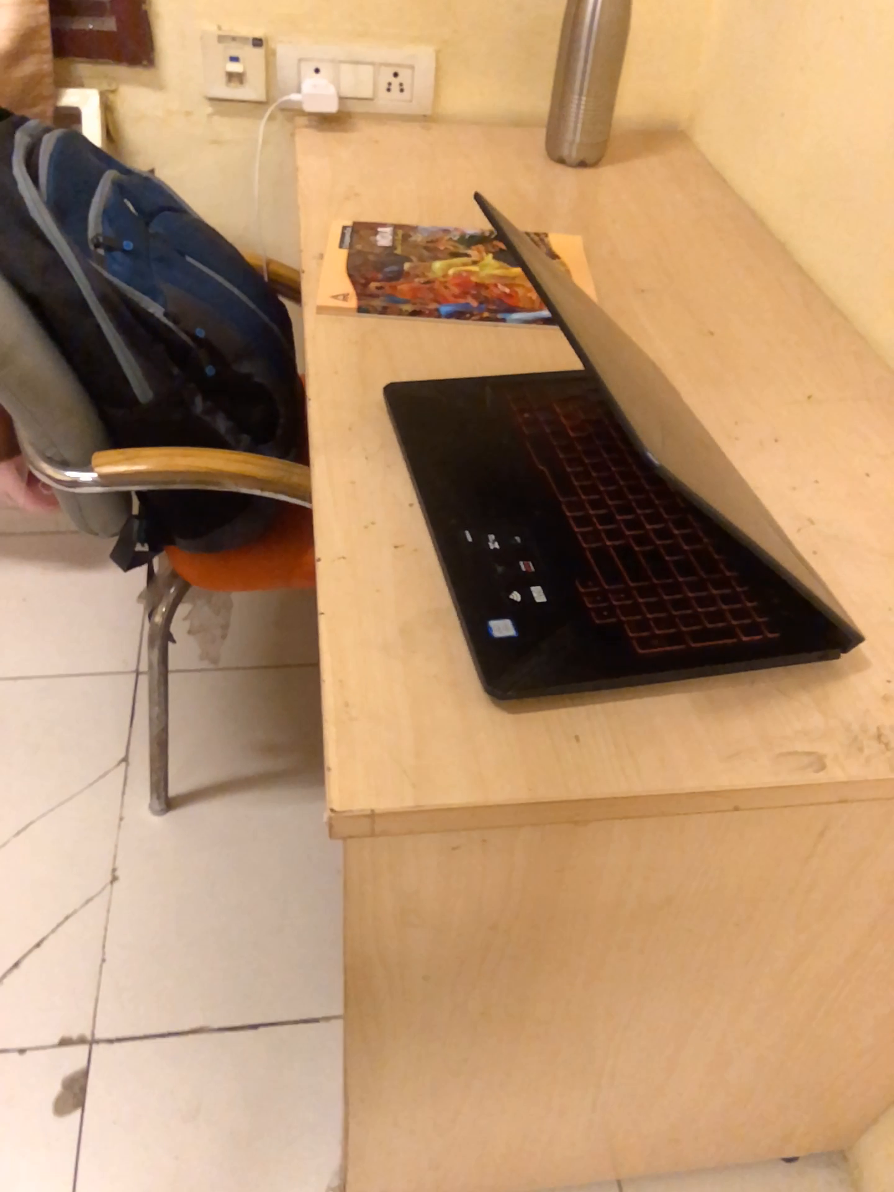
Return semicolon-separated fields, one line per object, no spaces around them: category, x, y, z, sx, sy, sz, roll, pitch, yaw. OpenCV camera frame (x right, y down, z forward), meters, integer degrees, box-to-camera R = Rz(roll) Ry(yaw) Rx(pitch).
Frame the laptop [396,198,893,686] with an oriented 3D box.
laptop;0.122;-0.139;0.730;0.252;0.173;0.371;-5;43;-13
